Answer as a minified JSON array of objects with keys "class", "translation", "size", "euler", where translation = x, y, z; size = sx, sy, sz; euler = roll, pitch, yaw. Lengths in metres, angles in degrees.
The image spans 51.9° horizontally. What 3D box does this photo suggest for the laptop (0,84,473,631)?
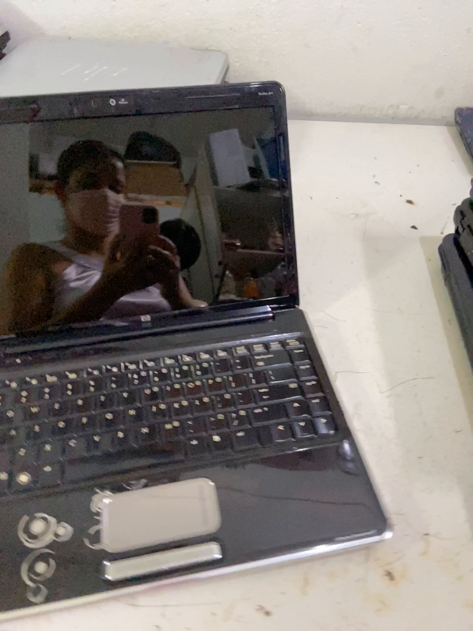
[{"class":"laptop","translation":[-0.080,-0.011,0.393],"size":[0.330,0.176,0.373],"euler":[-8,47,-8]}]
